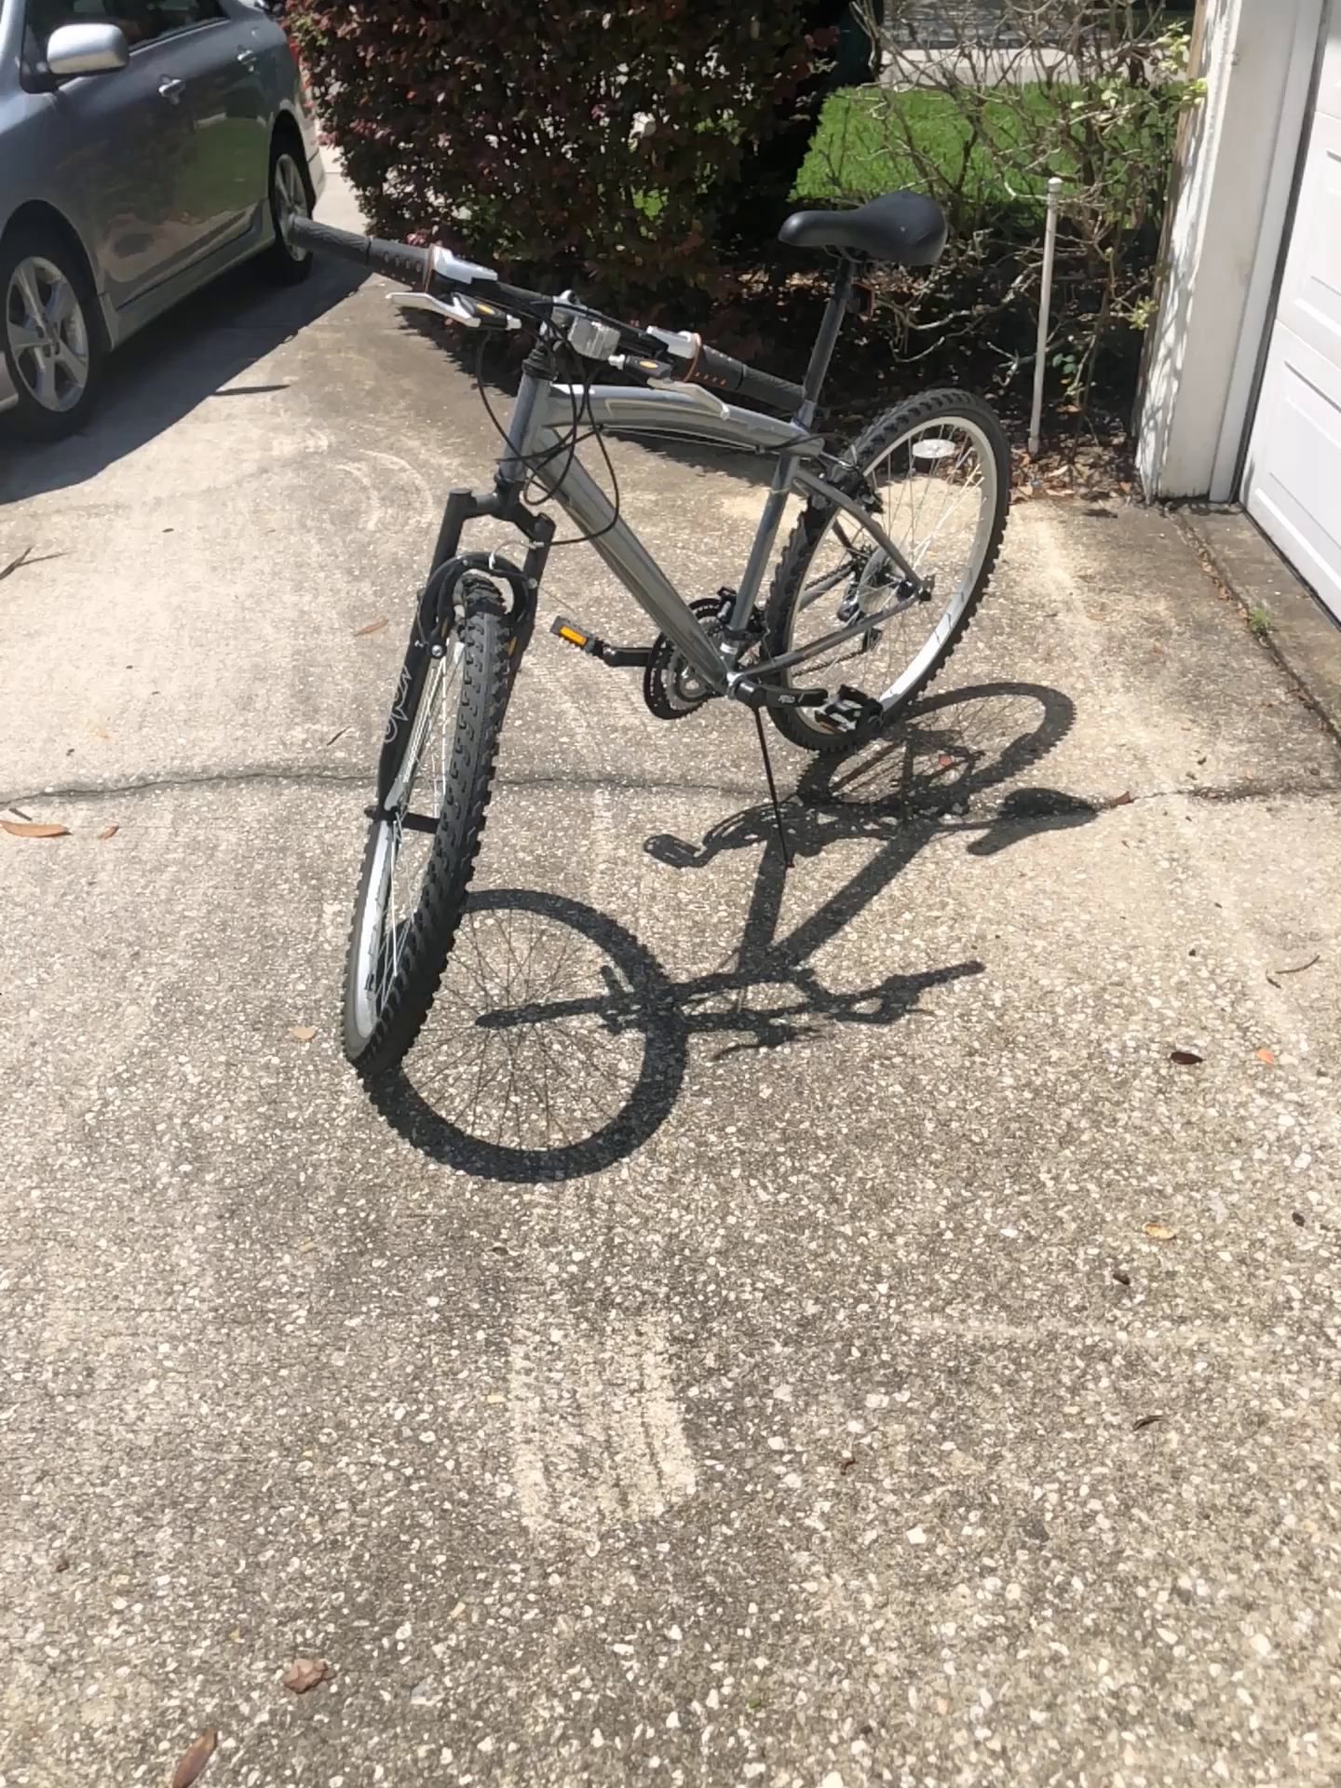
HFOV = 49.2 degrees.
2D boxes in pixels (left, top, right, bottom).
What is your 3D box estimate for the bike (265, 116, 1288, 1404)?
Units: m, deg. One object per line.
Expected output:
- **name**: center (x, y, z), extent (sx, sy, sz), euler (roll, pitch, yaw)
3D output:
- **bike**: center (0.246, -0.390, 2.055), extent (0.680, 0.980, 1.537), euler (19, 41, 29)
